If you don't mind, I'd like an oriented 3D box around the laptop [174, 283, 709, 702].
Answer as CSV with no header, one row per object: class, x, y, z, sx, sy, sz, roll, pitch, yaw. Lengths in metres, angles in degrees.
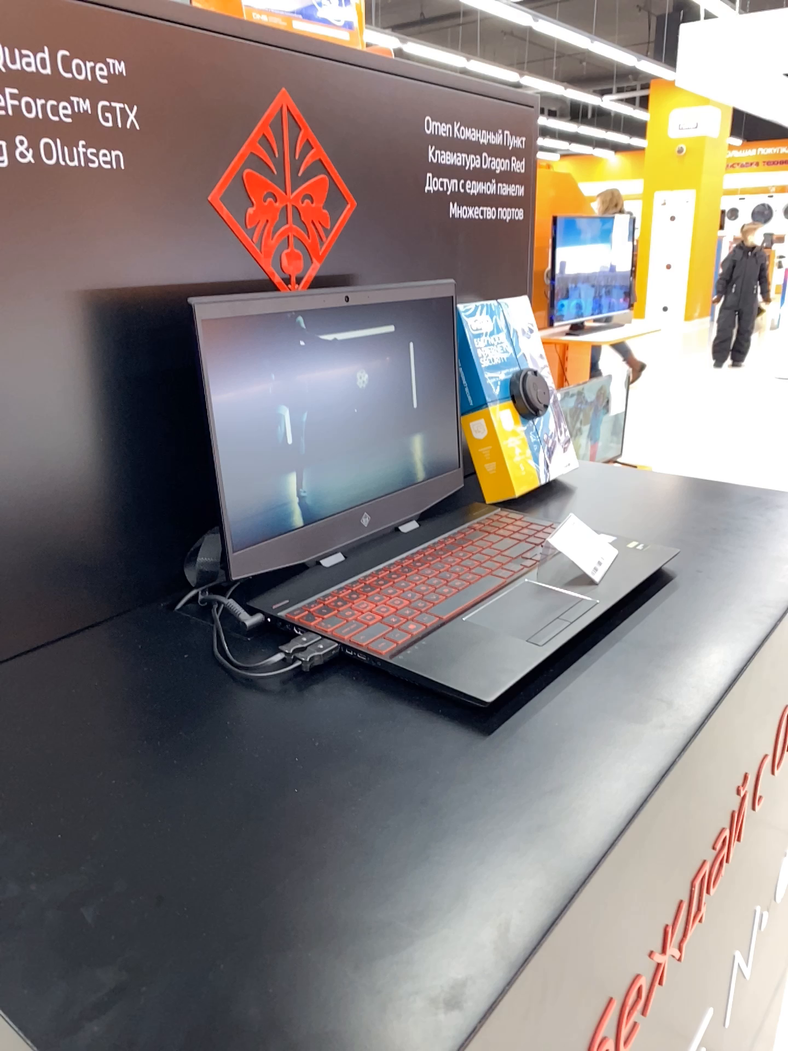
laptop,0.058,-0.077,0.724,0.302,0.247,0.359,14,23,35
